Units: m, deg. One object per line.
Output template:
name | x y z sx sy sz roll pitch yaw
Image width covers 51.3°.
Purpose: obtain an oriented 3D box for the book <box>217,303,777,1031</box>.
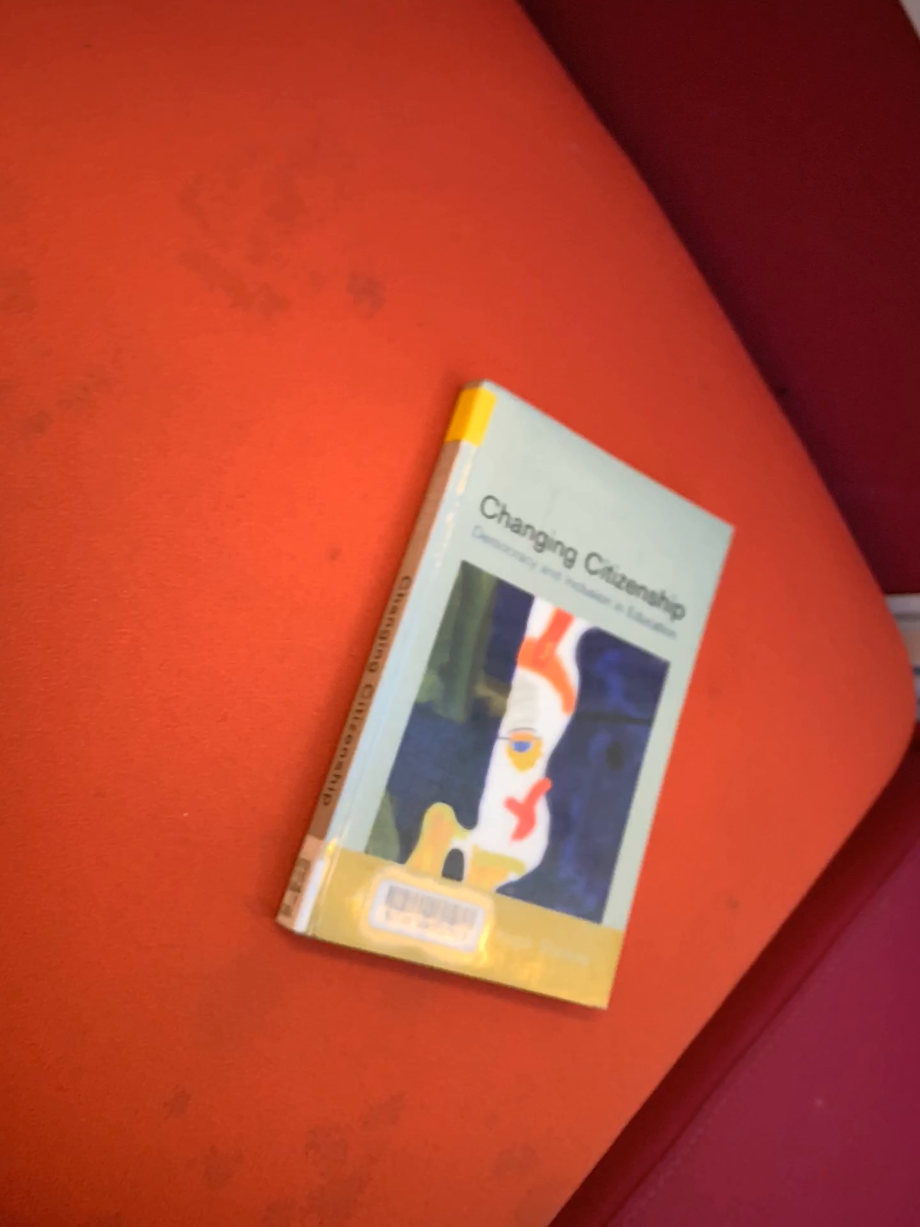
book | 0.031 0.028 0.409 0.180 0.040 0.250 25 76 -28
